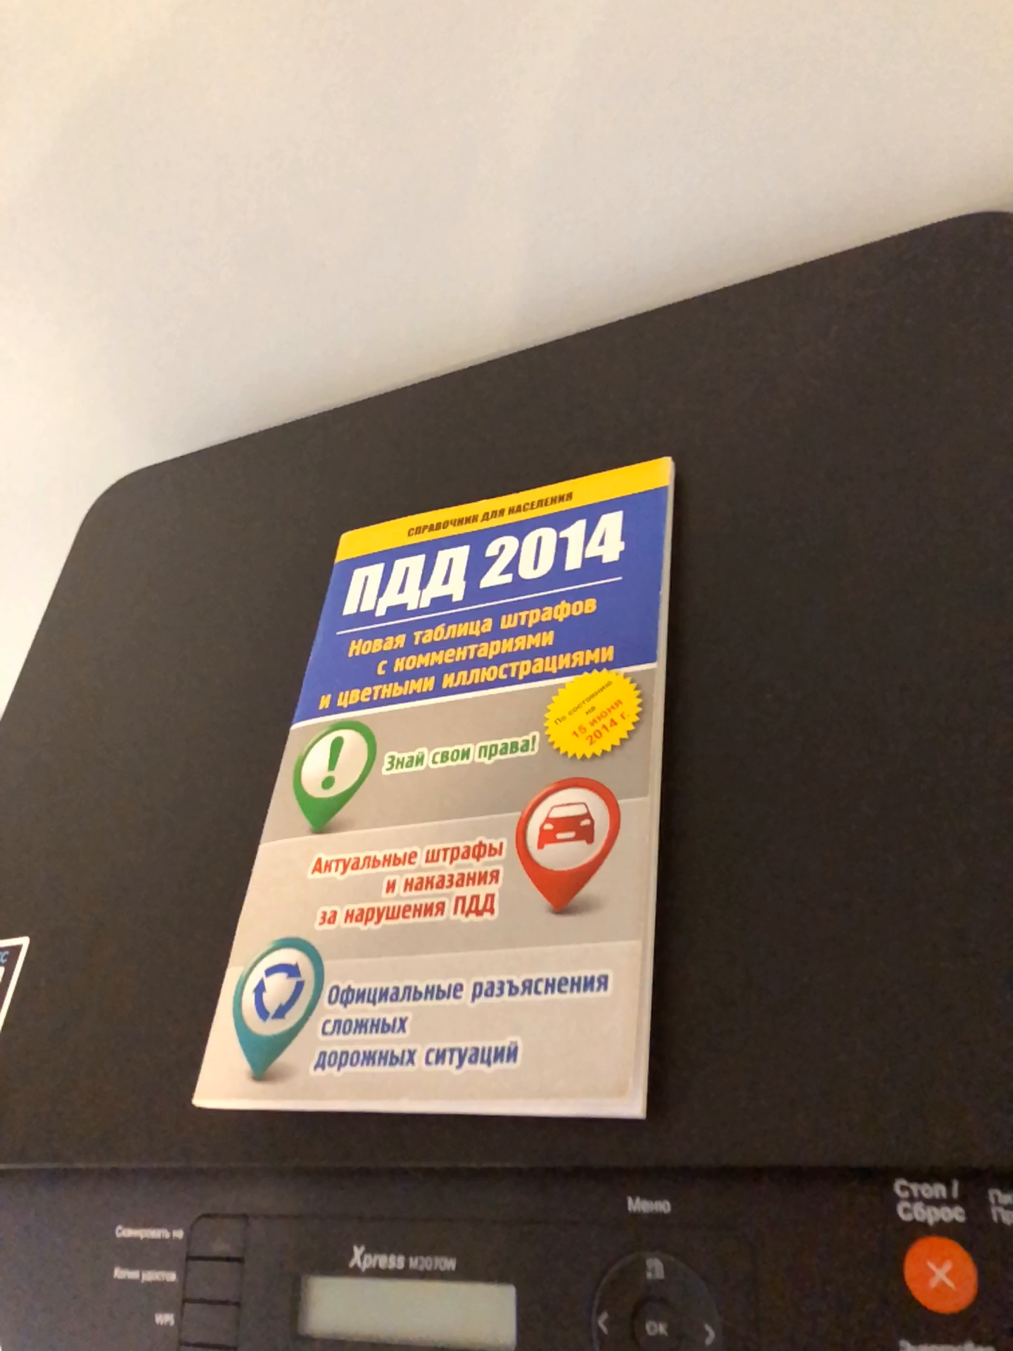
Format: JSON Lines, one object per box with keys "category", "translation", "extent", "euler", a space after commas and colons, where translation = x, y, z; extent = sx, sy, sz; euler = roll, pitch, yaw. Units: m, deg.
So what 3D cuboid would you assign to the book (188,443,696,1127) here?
{"category": "book", "translation": [-0.011, 0.023, 0.320], "extent": [0.130, 0.010, 0.201], "euler": [-10, 52, 24]}
